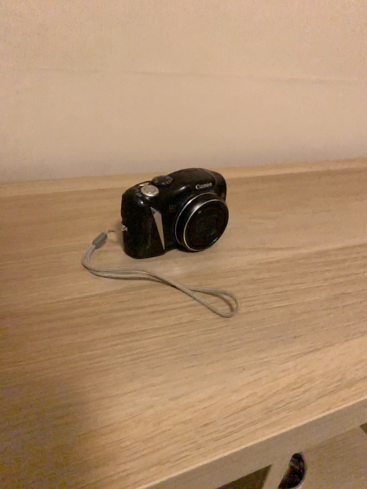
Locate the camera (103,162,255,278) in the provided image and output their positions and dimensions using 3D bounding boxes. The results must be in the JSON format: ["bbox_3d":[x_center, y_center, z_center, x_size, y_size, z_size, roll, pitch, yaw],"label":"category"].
[{"bbox_3d":[-0.004,-0.030,0.354,0.120,0.059,0.068,-19,39,-36],"label":"camera"}]
